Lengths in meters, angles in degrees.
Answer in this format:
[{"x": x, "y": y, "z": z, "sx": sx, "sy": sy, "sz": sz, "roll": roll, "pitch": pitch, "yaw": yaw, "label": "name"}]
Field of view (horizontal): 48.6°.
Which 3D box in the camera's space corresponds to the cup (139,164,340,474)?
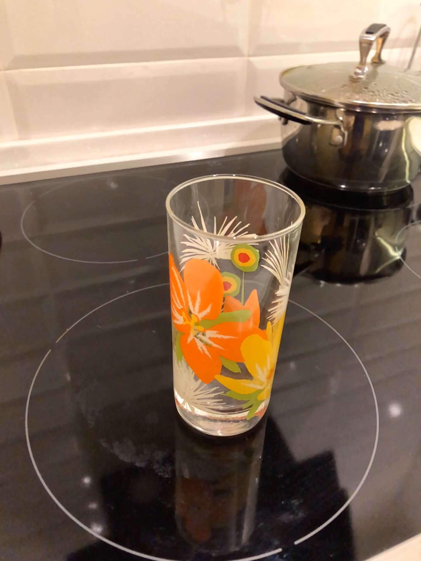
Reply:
[{"x": 0.009, "y": 0.022, "z": 0.247, "sx": 0.062, "sy": 0.138, "sz": 0.067, "roll": 1, "pitch": 35, "yaw": -1, "label": "cup"}]
